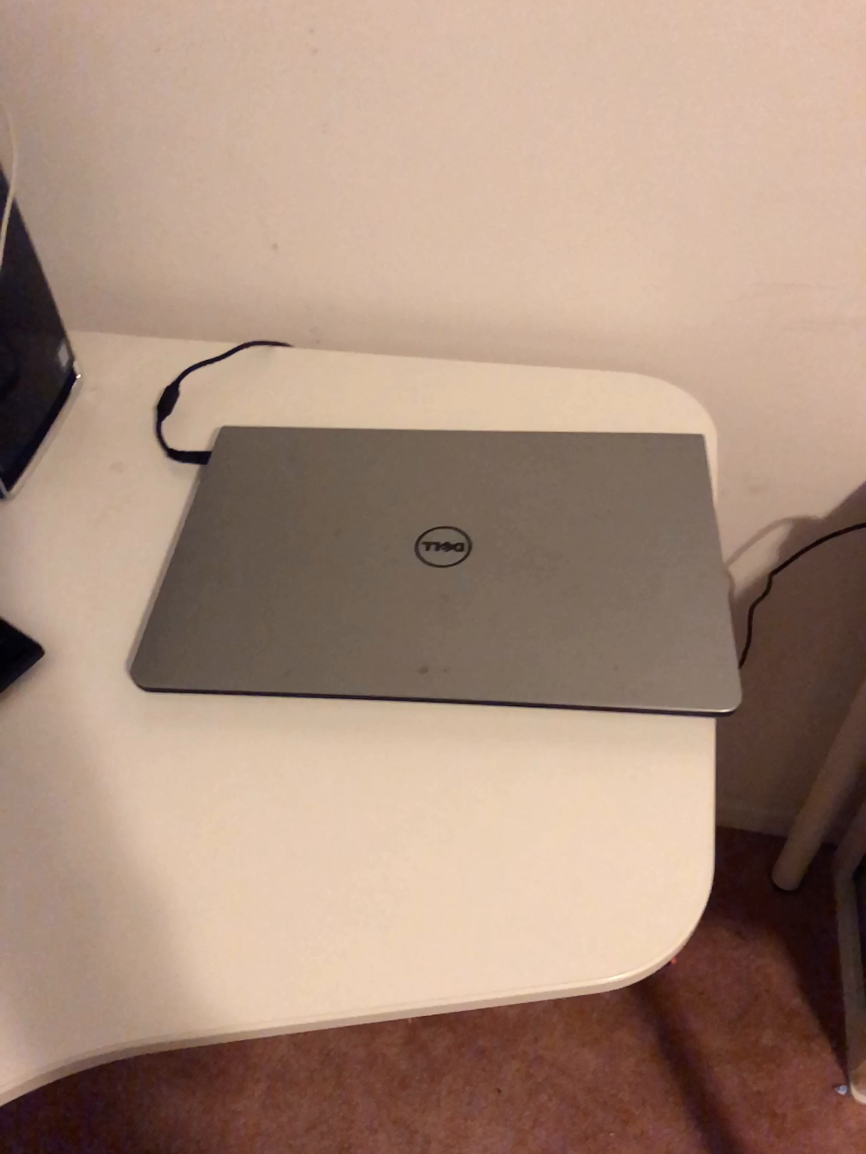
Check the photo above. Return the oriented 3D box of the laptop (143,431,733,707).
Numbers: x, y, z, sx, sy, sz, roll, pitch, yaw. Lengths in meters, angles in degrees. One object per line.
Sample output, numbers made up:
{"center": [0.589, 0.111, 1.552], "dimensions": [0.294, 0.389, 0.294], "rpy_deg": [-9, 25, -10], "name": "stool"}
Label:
{"center": [0.007, -0.021, 0.674], "dimensions": [0.371, 0.001, 0.248], "rpy_deg": [2, 49, 7], "name": "laptop"}
